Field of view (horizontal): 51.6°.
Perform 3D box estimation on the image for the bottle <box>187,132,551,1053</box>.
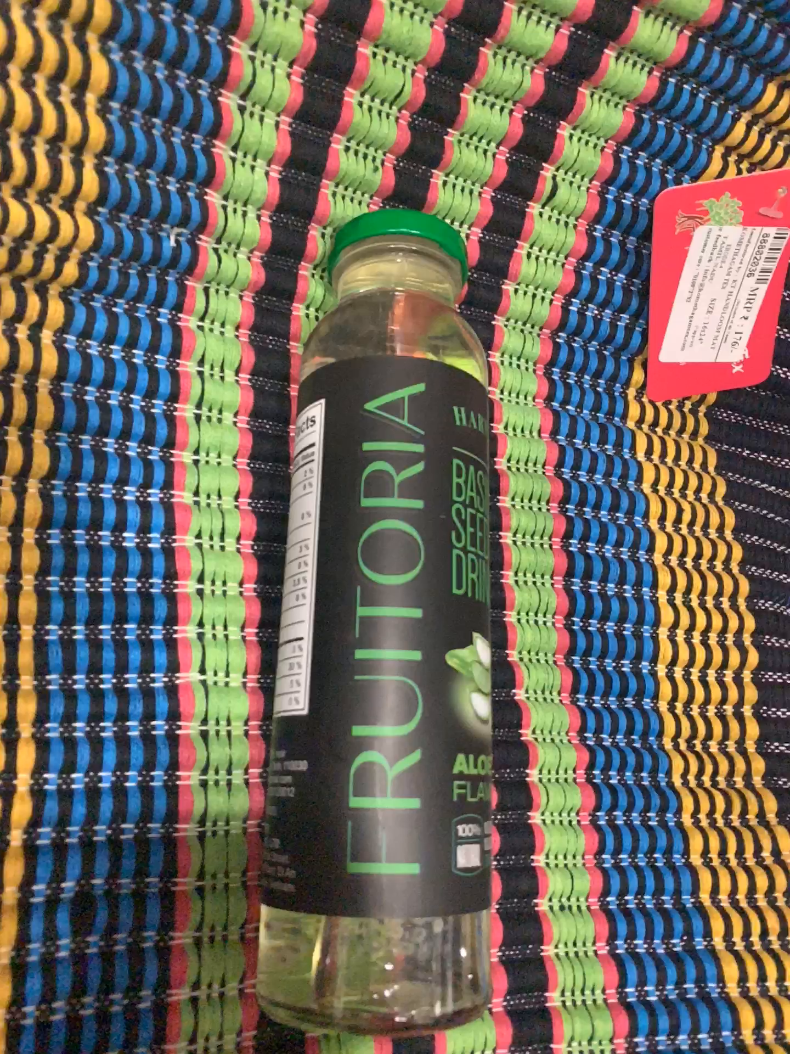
[{"bbox_3d":[0.000,0.013,0.202,0.050,0.060,0.200,26,64,-57],"label":"bottle"}]
